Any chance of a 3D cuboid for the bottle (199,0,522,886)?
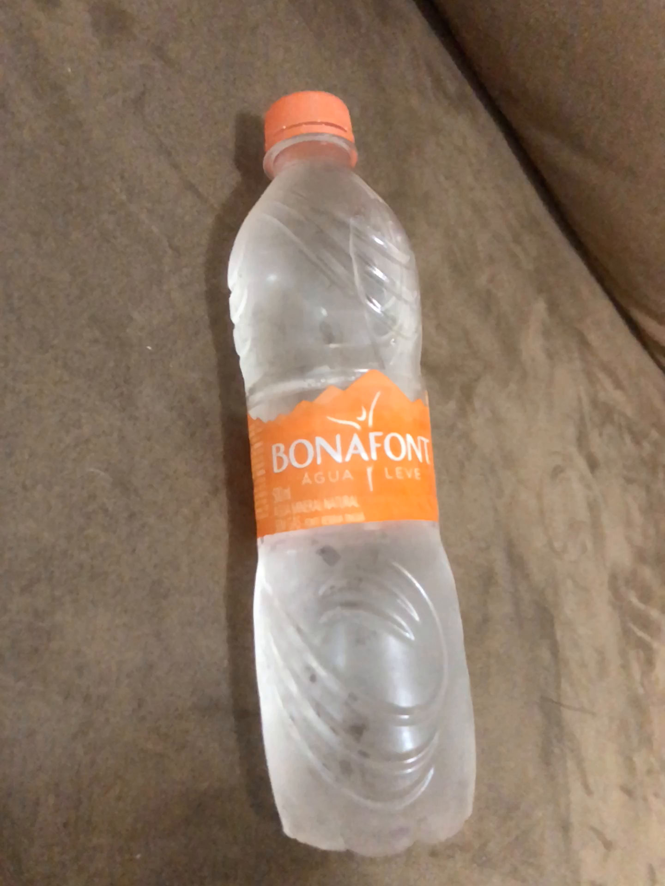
[{"bbox_3d":[0.007,-0.007,0.232,0.070,0.050,0.240,8,74,-50],"label":"bottle"}]
